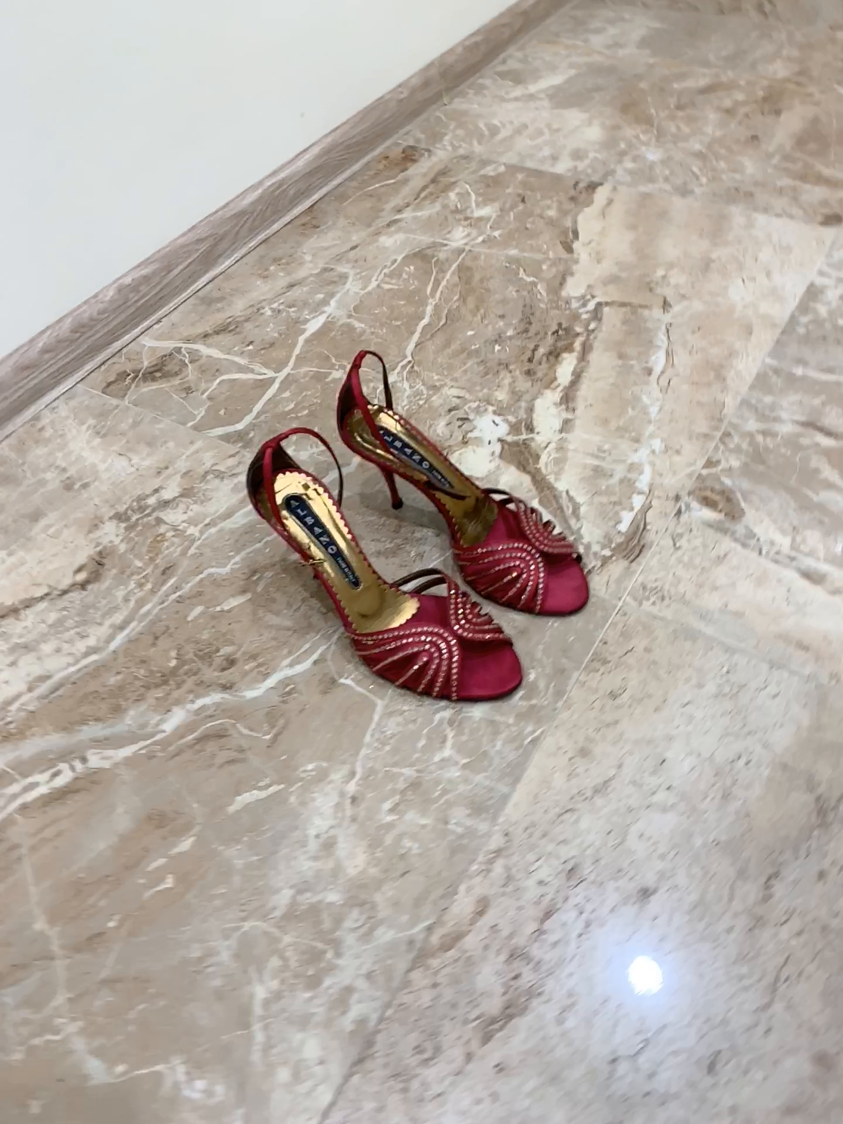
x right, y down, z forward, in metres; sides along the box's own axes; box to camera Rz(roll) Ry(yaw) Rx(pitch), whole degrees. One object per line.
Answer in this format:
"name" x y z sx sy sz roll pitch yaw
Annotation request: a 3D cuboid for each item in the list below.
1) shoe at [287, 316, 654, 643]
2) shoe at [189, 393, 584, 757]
"shoe" 0.030 -0.063 0.615 0.231 0.129 0.090 27 56 25
"shoe" -0.023 0.003 0.564 0.231 0.129 0.090 27 56 25
